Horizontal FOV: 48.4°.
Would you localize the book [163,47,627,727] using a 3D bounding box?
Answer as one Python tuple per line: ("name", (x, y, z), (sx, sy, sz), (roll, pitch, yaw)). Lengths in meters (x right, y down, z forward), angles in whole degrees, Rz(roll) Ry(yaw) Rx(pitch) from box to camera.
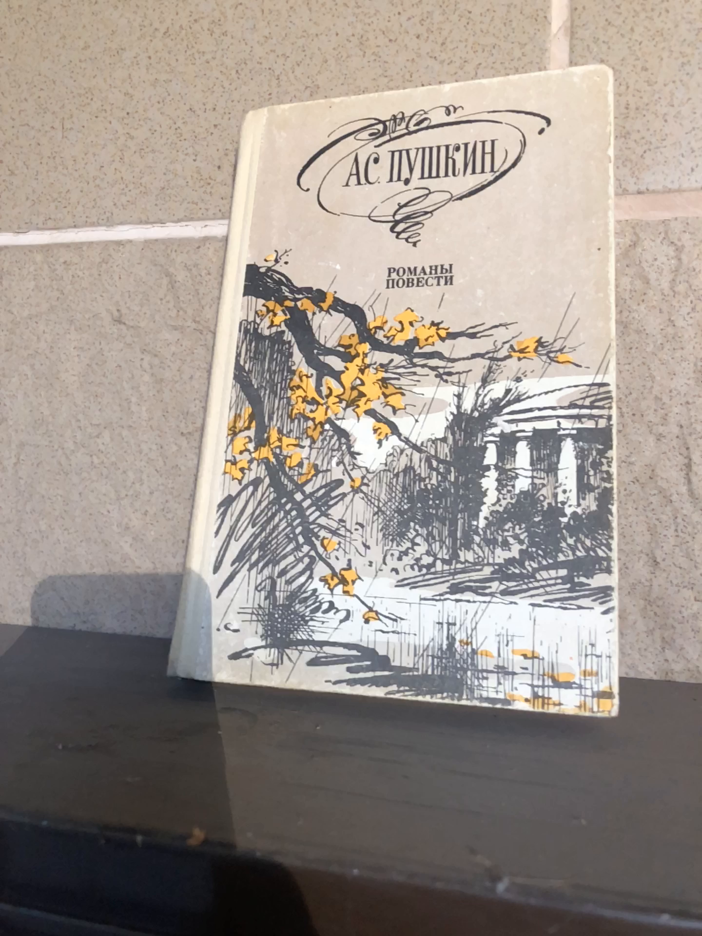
("book", (0.020, -0.029, 0.249), (0.125, 0.198, 0.040), (1, -14, 15))
